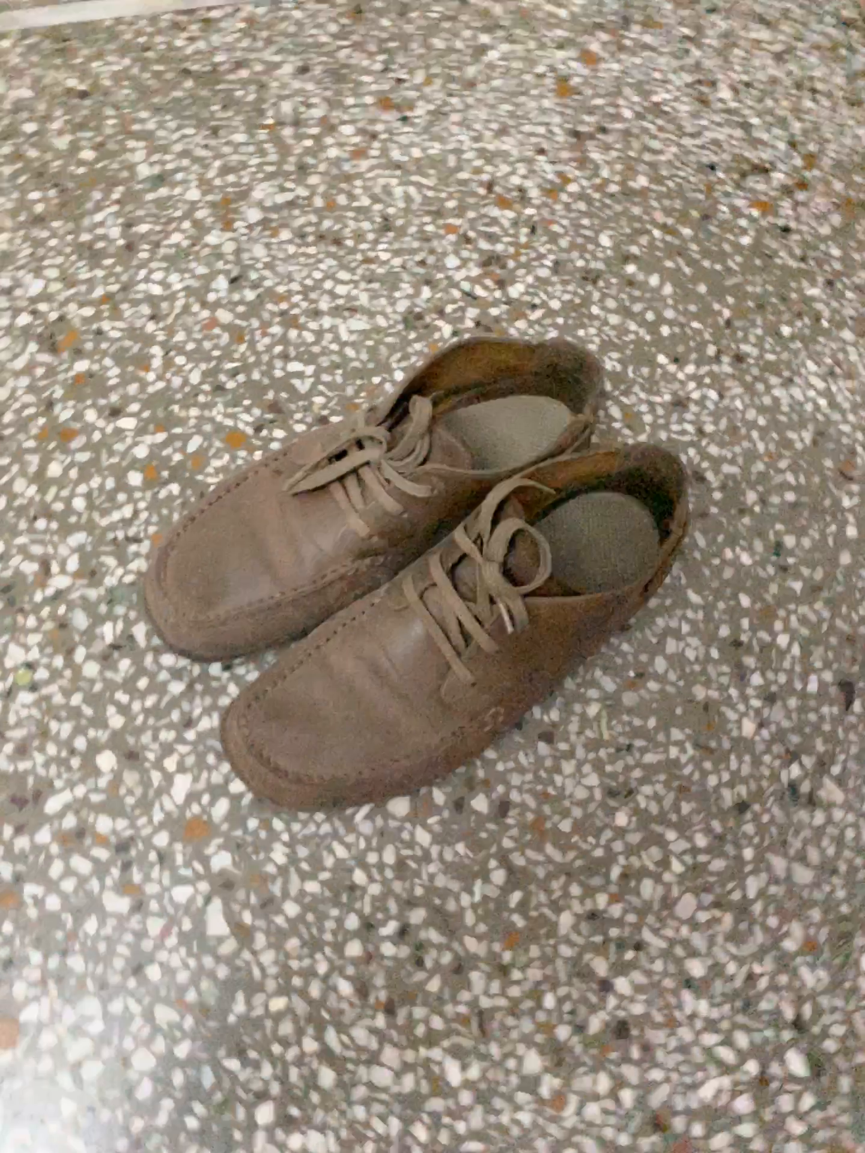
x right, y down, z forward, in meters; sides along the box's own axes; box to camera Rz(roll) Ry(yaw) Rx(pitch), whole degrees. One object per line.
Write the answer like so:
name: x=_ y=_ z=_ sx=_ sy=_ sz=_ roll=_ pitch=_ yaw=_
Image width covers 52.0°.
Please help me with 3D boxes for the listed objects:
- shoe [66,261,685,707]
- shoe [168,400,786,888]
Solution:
shoe: x=-0.025 y=-0.051 z=0.481 sx=0.289 sy=0.100 sz=0.100 roll=-26 pitch=73 yaw=-15
shoe: x=0.025 y=0.034 z=0.466 sx=0.289 sy=0.100 sz=0.100 roll=-30 pitch=75 yaw=-16
